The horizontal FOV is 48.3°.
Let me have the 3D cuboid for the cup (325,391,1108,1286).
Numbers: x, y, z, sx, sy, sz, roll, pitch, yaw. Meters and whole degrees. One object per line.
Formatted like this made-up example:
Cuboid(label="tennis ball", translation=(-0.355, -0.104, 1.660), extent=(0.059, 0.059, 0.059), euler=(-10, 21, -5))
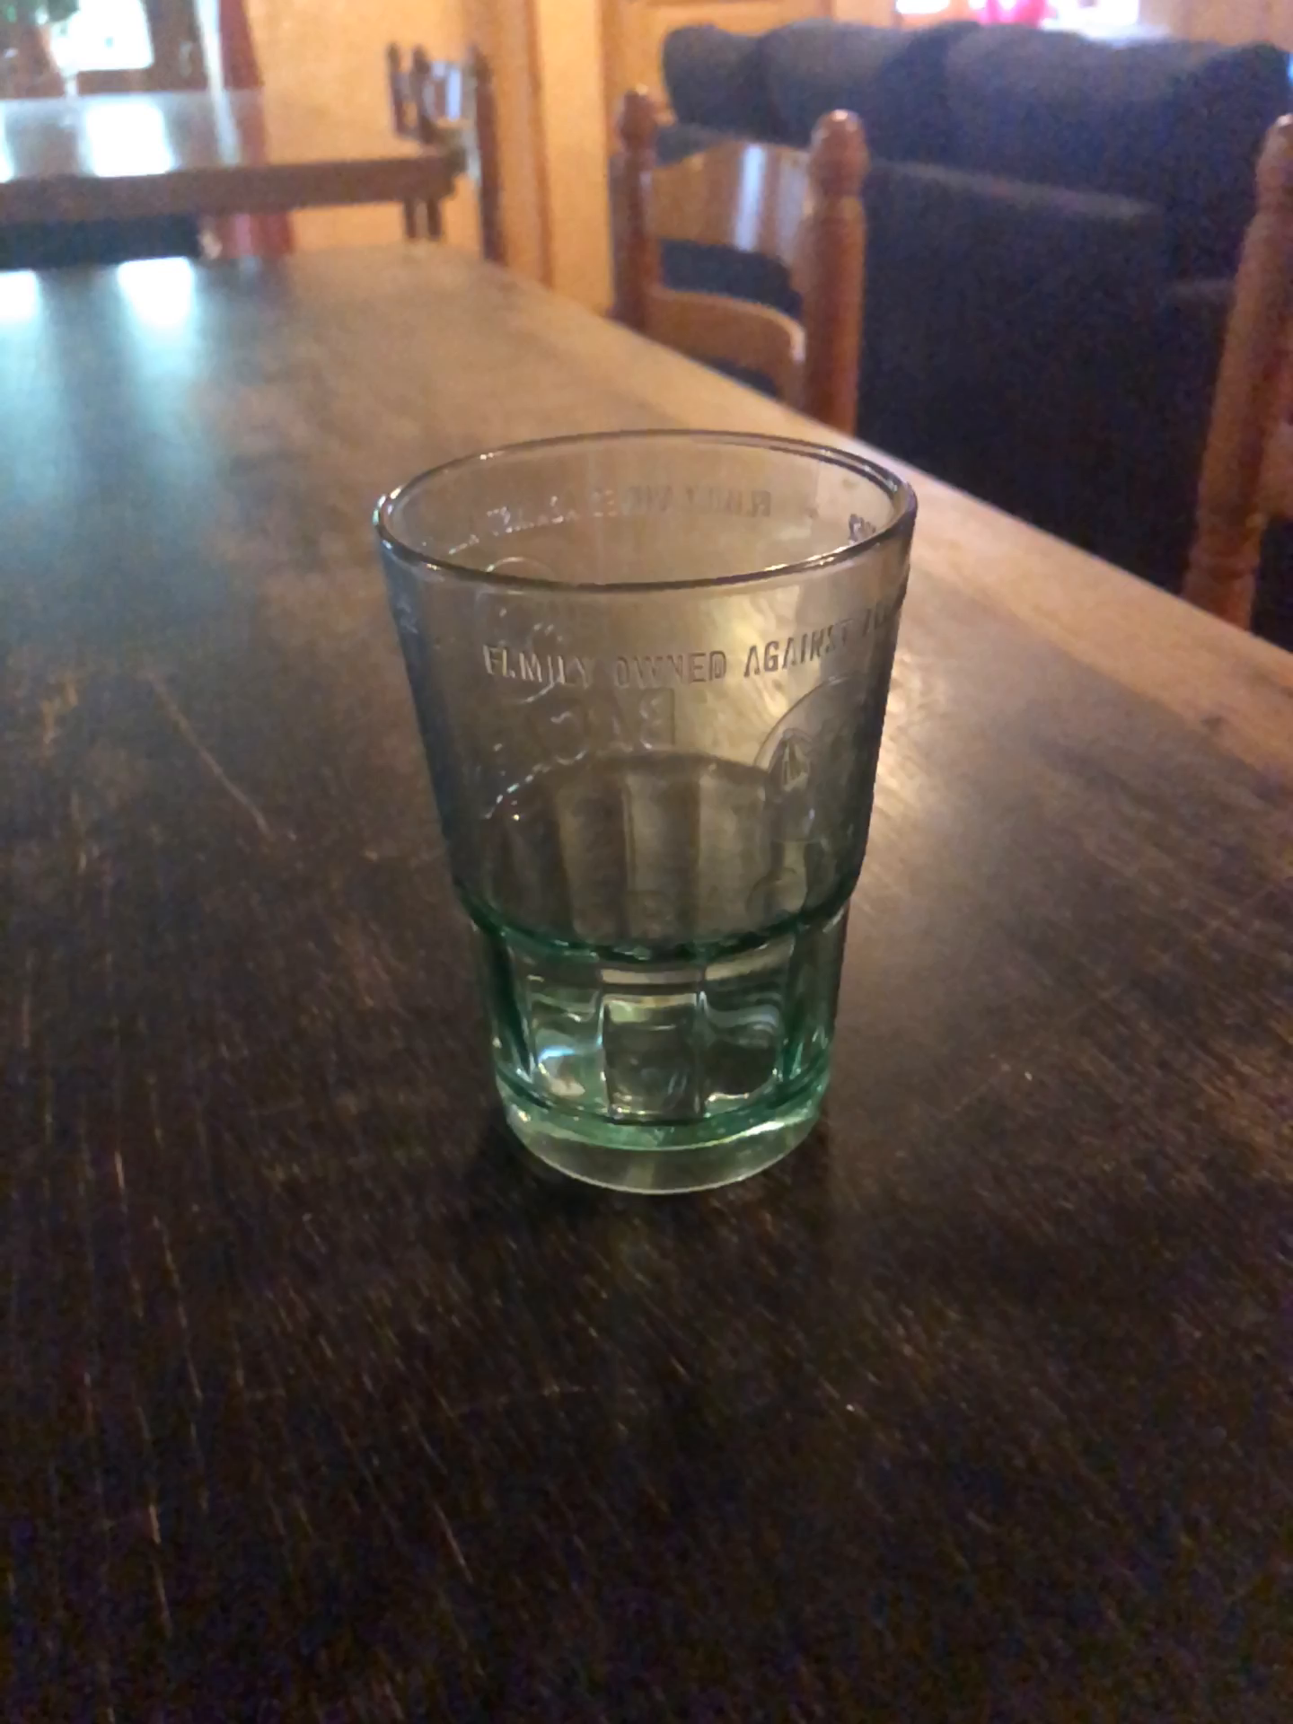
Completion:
Cuboid(label="cup", translation=(0.007, -0.012, 0.239), extent=(0.083, 0.103, 0.089), euler=(-2, 30, 1))
